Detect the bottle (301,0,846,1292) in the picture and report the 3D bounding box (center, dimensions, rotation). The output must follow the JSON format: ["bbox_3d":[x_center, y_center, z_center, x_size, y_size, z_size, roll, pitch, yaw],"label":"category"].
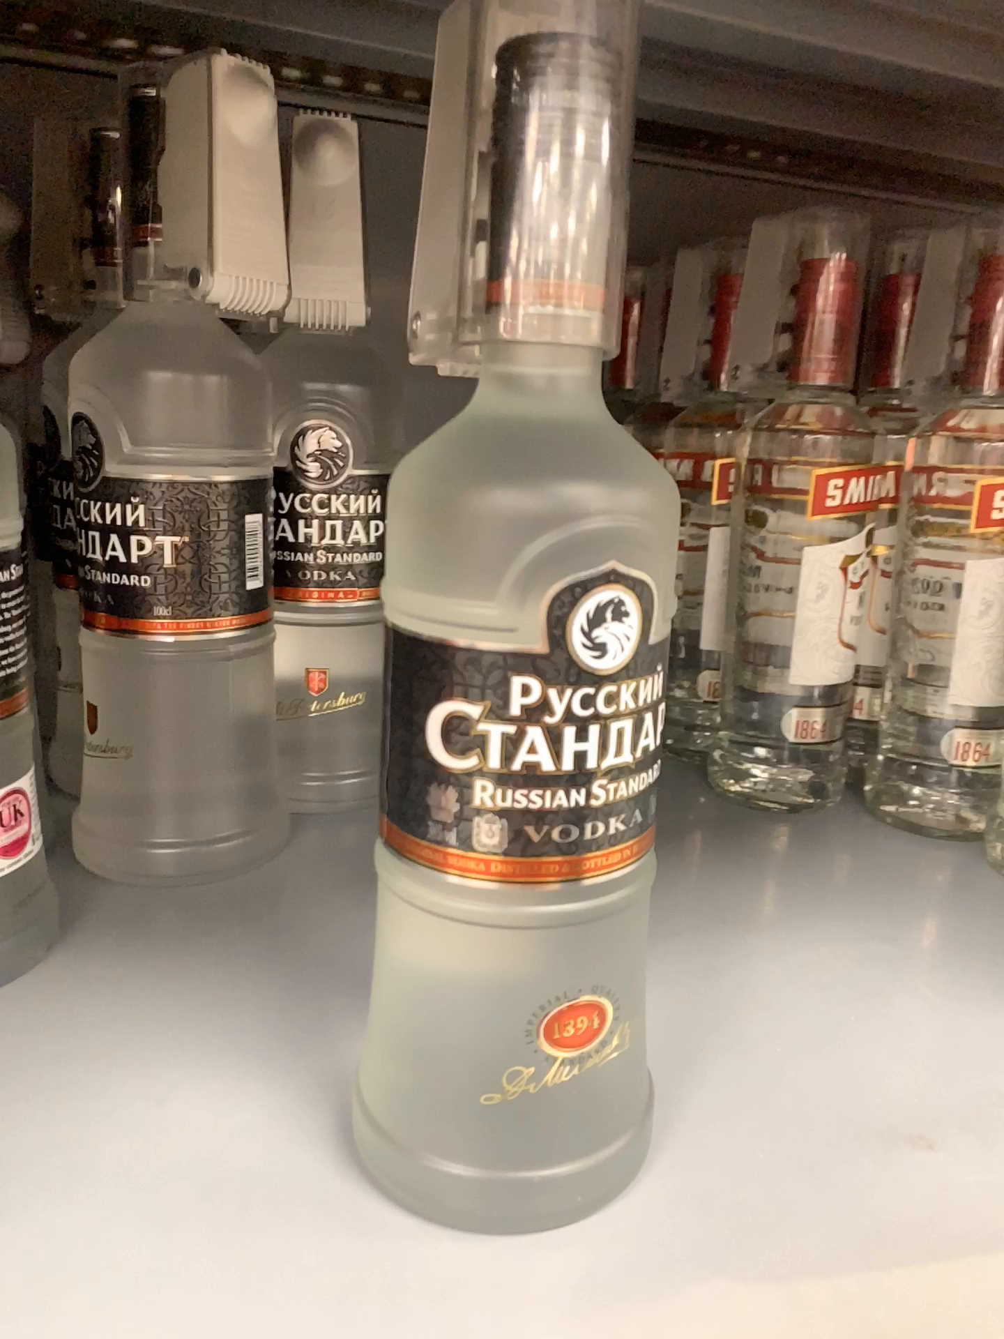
[{"bbox_3d":[0.005,-0.011,0.262,0.092,0.288,0.088,2,13,-1],"label":"bottle"}]
